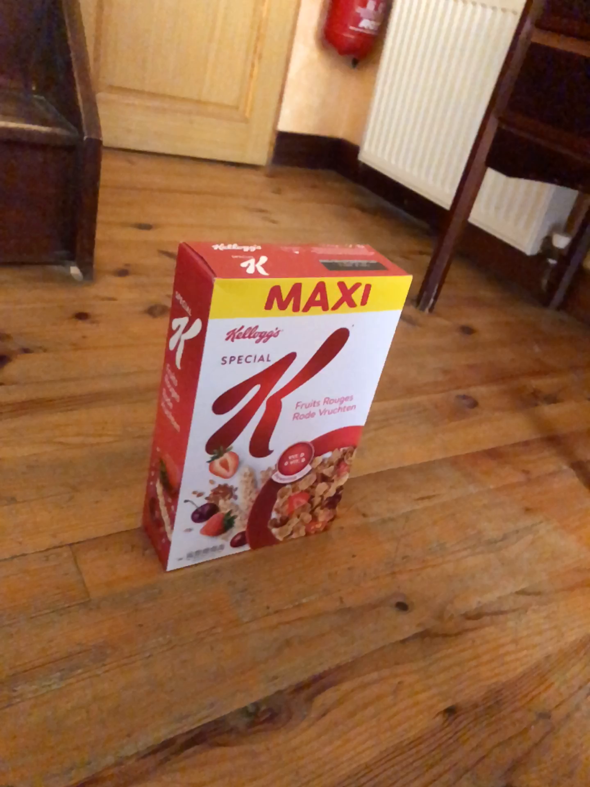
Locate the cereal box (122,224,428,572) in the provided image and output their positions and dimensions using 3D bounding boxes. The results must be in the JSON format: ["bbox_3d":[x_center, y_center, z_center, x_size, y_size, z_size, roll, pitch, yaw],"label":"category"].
[{"bbox_3d":[-0.029,0.004,0.599,0.211,0.288,0.090,-7,36,-32],"label":"cereal box"}]
